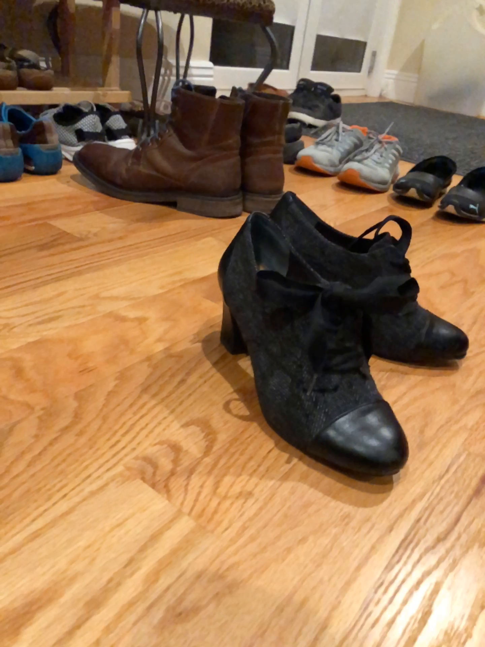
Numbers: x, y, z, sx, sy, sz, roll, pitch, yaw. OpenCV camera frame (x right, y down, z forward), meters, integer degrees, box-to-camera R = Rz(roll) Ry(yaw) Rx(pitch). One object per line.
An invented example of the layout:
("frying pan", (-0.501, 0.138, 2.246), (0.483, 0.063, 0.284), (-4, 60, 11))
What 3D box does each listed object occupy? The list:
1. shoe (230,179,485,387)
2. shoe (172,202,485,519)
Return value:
("shoe", (0.114, -0.047, 0.517), (0.223, 0.125, 0.088), (17, 30, 17))
("shoe", (0.041, 0.006, 0.402), (0.093, 0.125, 0.224), (-11, 34, -31))
